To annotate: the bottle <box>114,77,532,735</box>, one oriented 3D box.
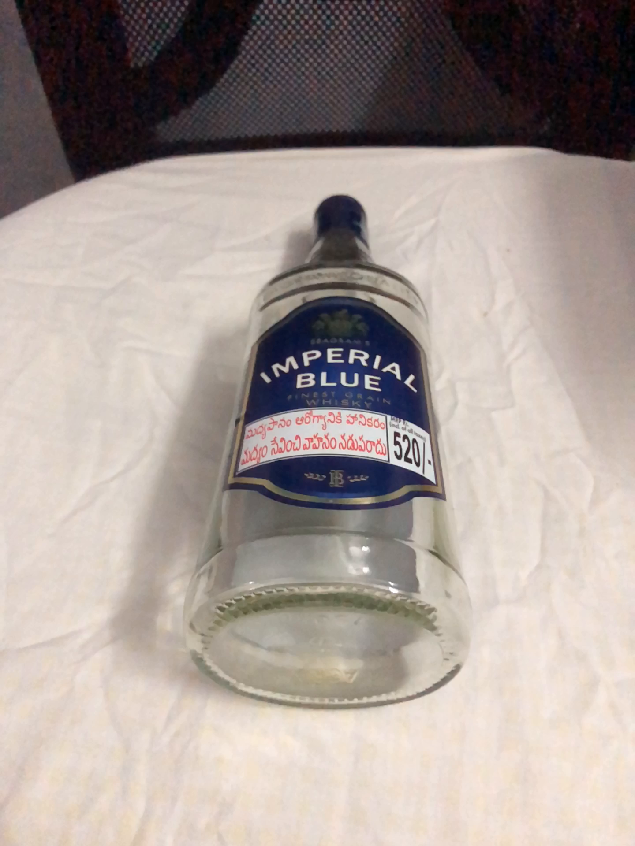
[{"bbox_3d":[0.007,-0.036,0.273,0.090,0.080,0.271,1,48,2],"label":"bottle"}]
